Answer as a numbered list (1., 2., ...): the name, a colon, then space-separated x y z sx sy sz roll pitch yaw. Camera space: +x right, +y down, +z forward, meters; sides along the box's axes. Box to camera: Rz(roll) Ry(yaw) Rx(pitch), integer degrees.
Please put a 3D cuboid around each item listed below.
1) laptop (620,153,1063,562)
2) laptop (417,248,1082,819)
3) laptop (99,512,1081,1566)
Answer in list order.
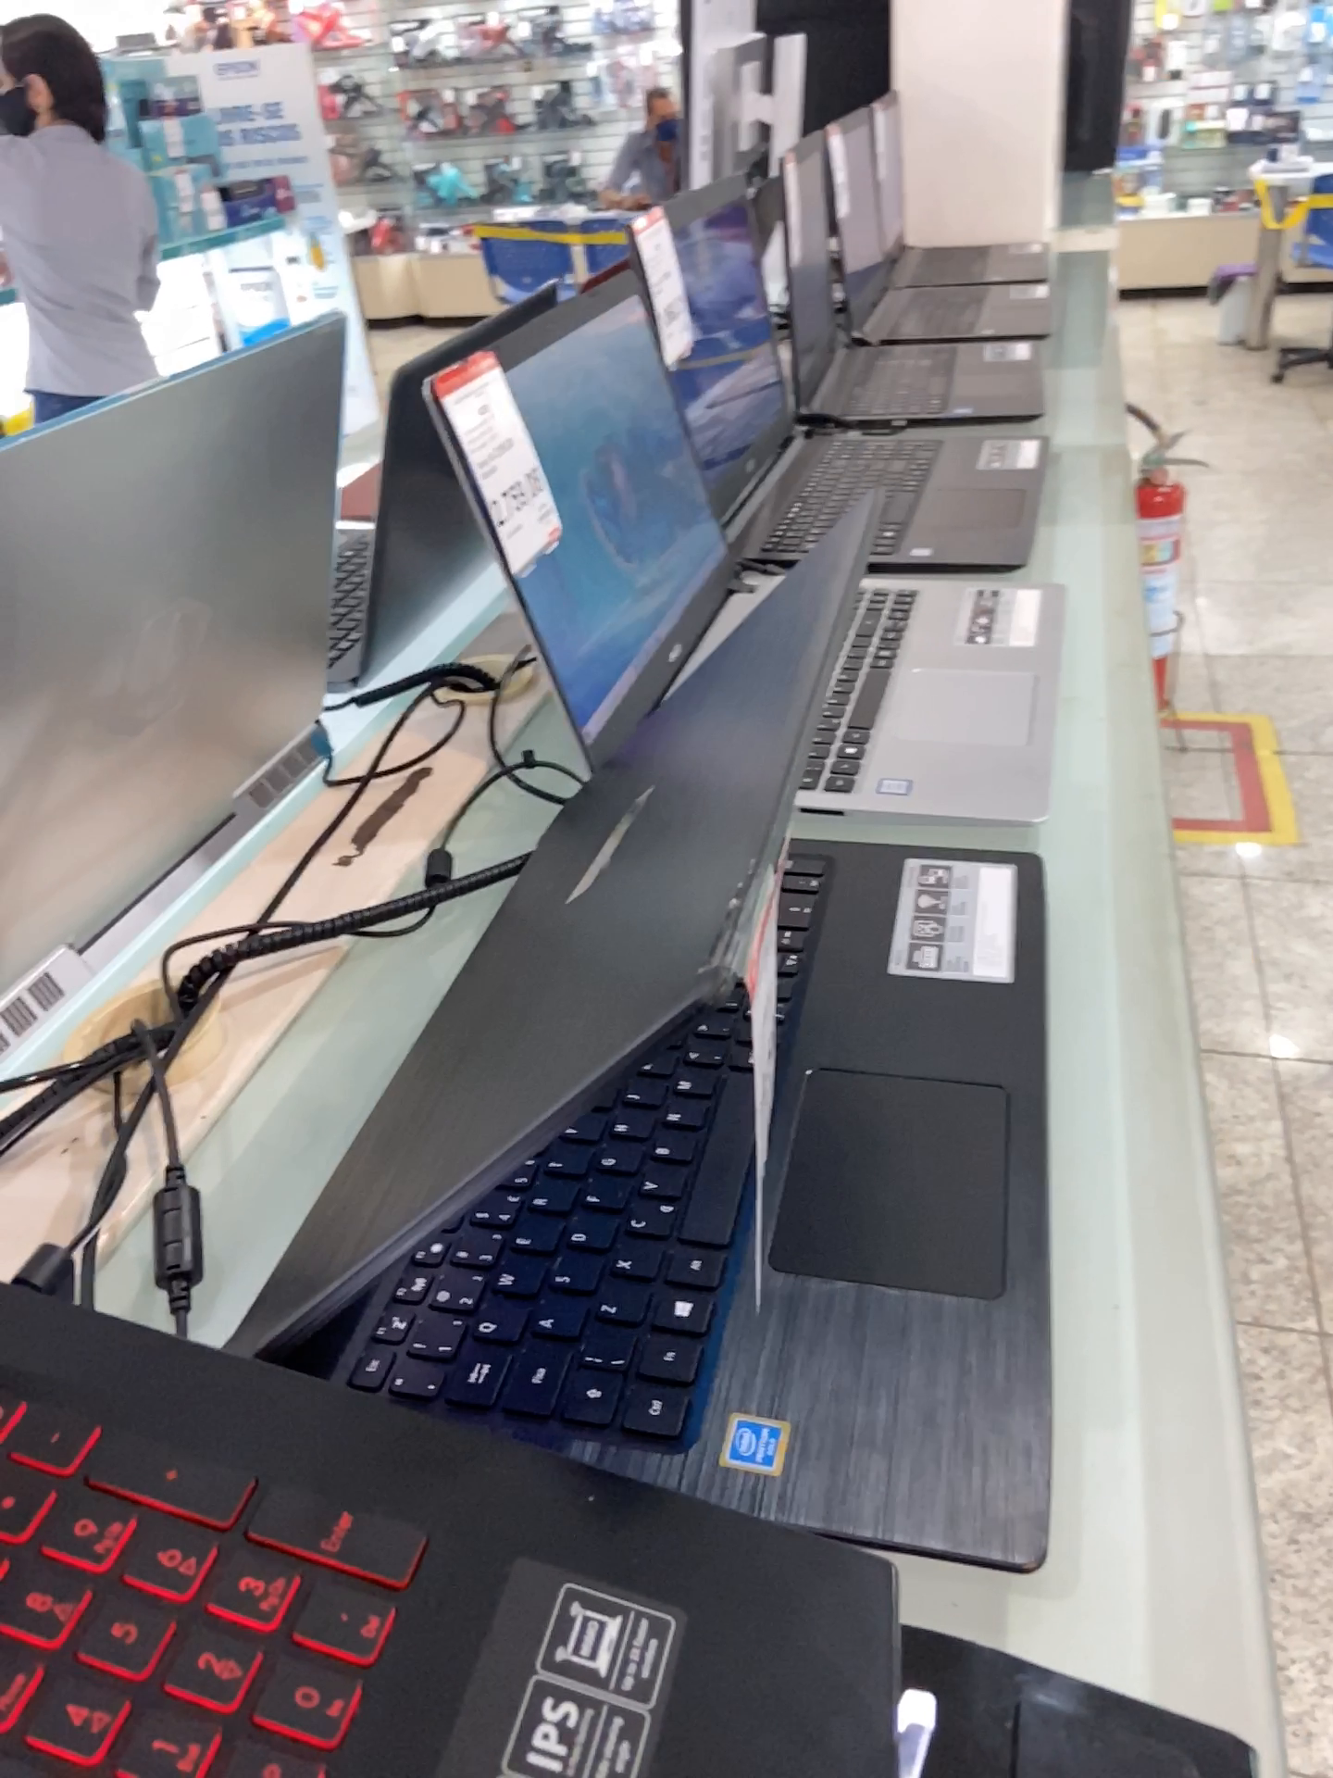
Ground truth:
1. laptop: 0.175 -0.475 1.197 0.299 0.249 0.387 5 33 16
2. laptop: 0.083 -0.239 0.844 0.313 0.227 0.364 4 32 16
3. laptop: 0.022 0.002 0.506 0.230 0.169 0.377 4 32 13
